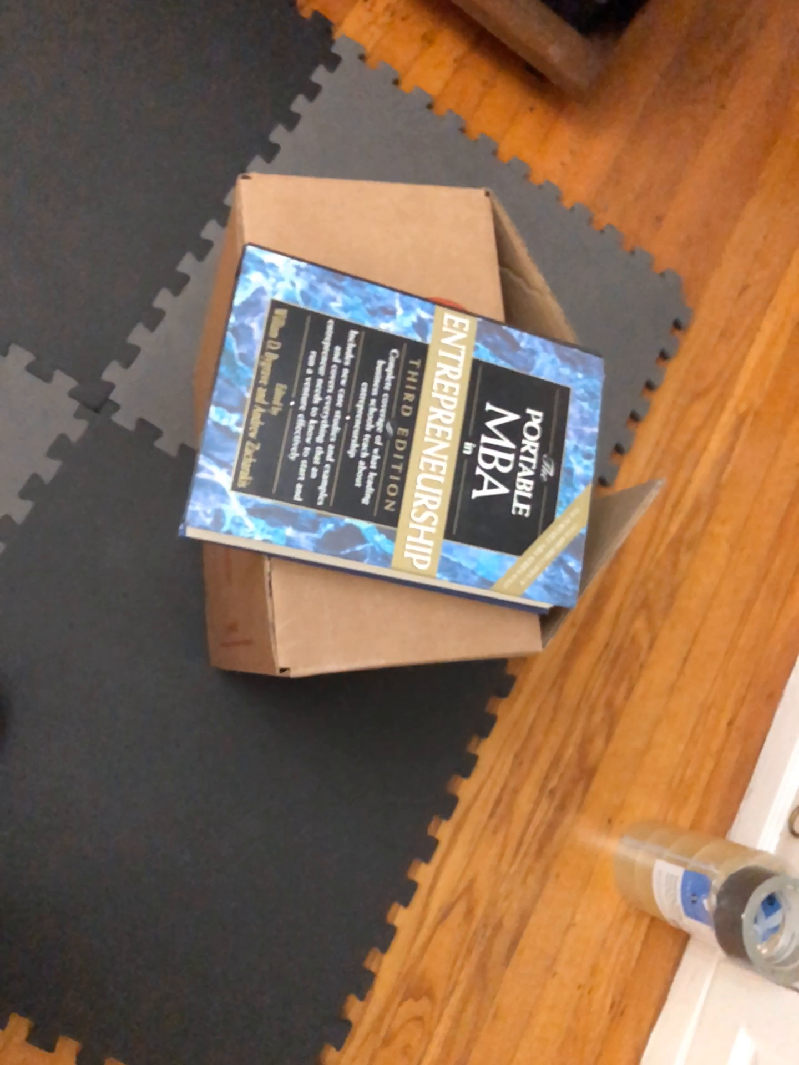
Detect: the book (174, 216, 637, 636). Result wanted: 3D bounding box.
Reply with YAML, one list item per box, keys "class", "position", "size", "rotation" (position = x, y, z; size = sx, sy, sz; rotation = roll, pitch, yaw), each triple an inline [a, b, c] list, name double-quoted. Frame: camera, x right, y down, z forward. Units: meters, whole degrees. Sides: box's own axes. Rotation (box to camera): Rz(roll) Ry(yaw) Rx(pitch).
- class: "book"
  position: [0.010, -0.062, 0.585]
  size: [0.270, 0.060, 0.210]
  rotation: [12, 77, -13]
